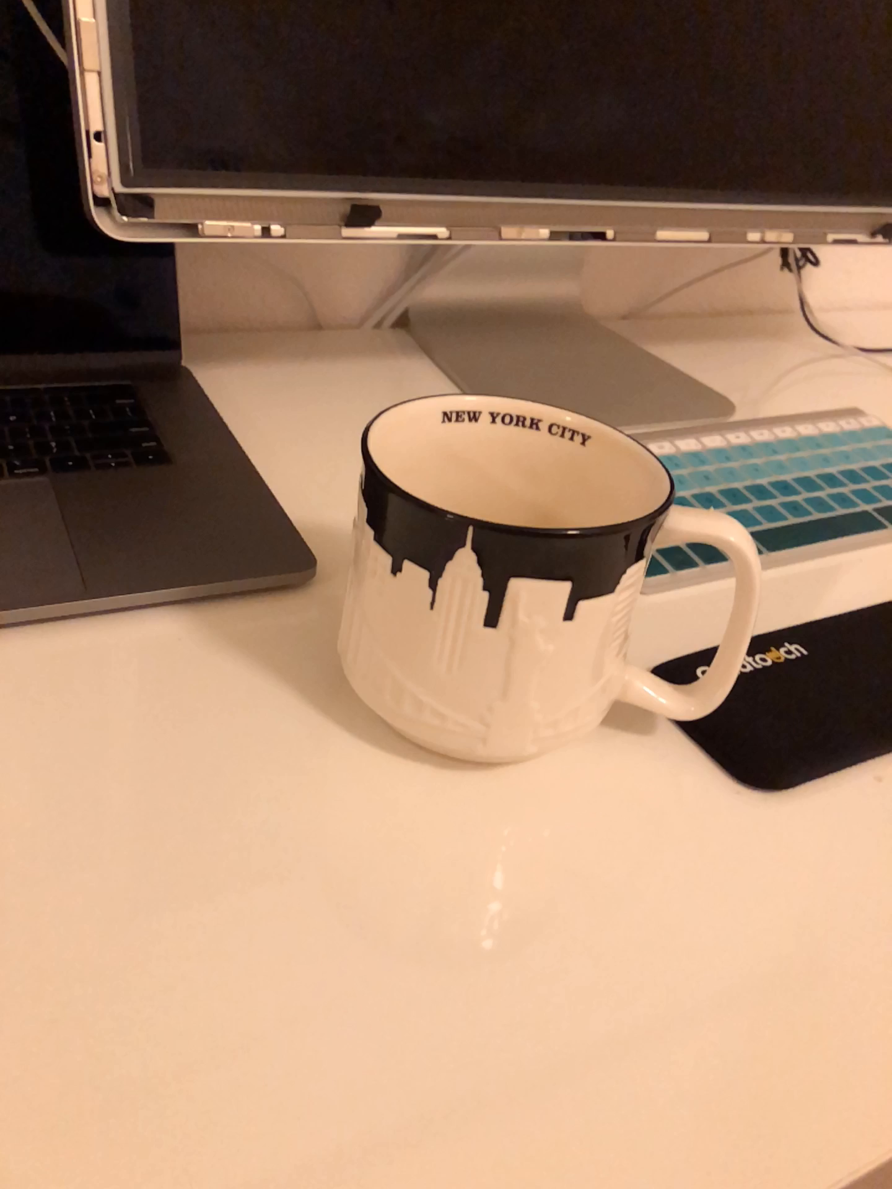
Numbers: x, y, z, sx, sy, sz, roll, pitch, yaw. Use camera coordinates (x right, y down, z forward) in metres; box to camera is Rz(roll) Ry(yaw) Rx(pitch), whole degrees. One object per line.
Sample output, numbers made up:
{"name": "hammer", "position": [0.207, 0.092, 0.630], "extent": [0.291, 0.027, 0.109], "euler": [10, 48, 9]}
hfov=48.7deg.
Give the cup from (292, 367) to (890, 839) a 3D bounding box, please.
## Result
{"name": "cup", "position": [0.042, -0.003, 0.338], "extent": [0.160, 0.089, 0.111], "euler": [10, 33, 2]}
